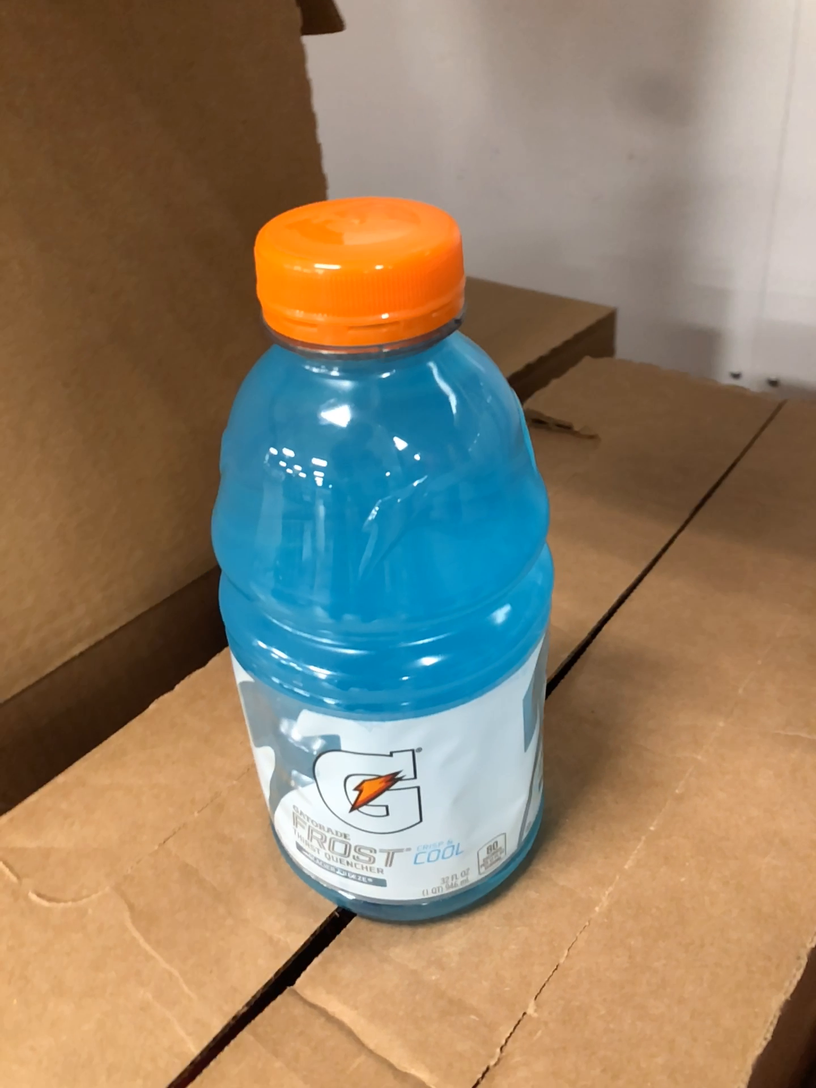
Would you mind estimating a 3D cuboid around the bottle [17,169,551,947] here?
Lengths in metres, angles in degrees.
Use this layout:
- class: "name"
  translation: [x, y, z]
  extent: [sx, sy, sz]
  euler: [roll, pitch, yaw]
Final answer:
- class: "bottle"
  translation: [-0.011, 0.012, 0.259]
  extent: [0.100, 0.199, 0.090]
  euler: [0, 35, 9]
